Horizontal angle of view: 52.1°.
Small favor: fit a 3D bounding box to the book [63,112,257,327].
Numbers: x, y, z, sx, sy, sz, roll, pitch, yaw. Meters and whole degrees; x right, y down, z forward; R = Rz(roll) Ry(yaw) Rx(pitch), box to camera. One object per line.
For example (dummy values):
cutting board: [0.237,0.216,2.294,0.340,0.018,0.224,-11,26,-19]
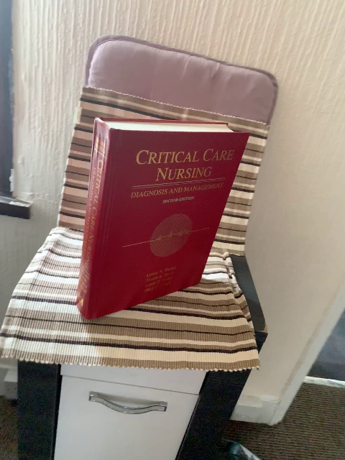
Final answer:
book: [-0.022,-0.017,0.533,0.251,0.287,0.060,-11,38,-37]
